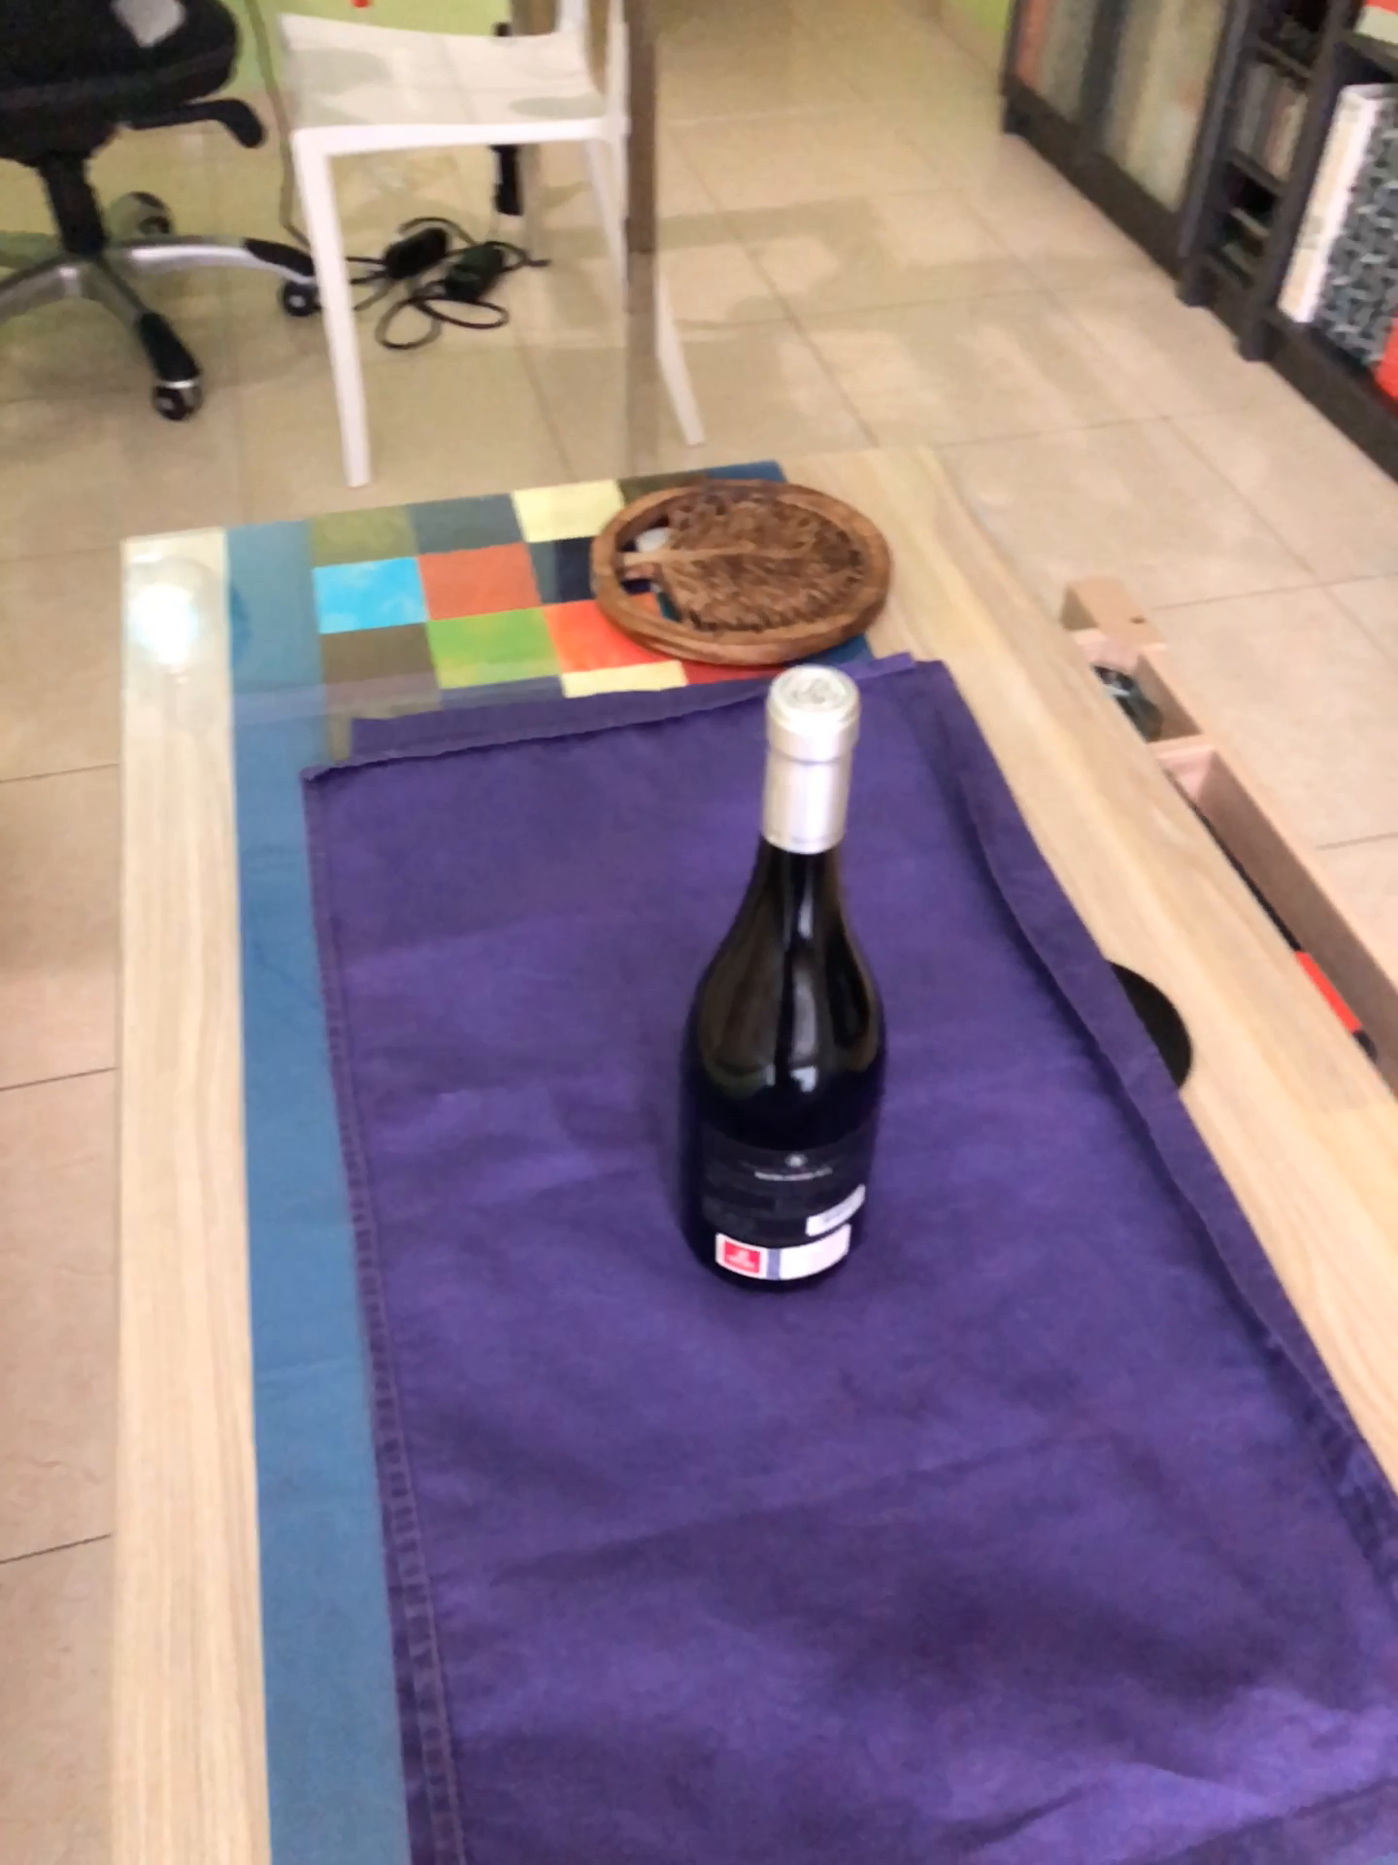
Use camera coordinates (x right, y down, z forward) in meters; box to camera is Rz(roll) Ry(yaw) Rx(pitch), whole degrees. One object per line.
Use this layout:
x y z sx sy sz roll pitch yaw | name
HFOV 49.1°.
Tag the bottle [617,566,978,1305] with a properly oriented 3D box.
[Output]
0.032 0.015 0.556 0.100 0.269 0.100 0 46 0 | bottle
